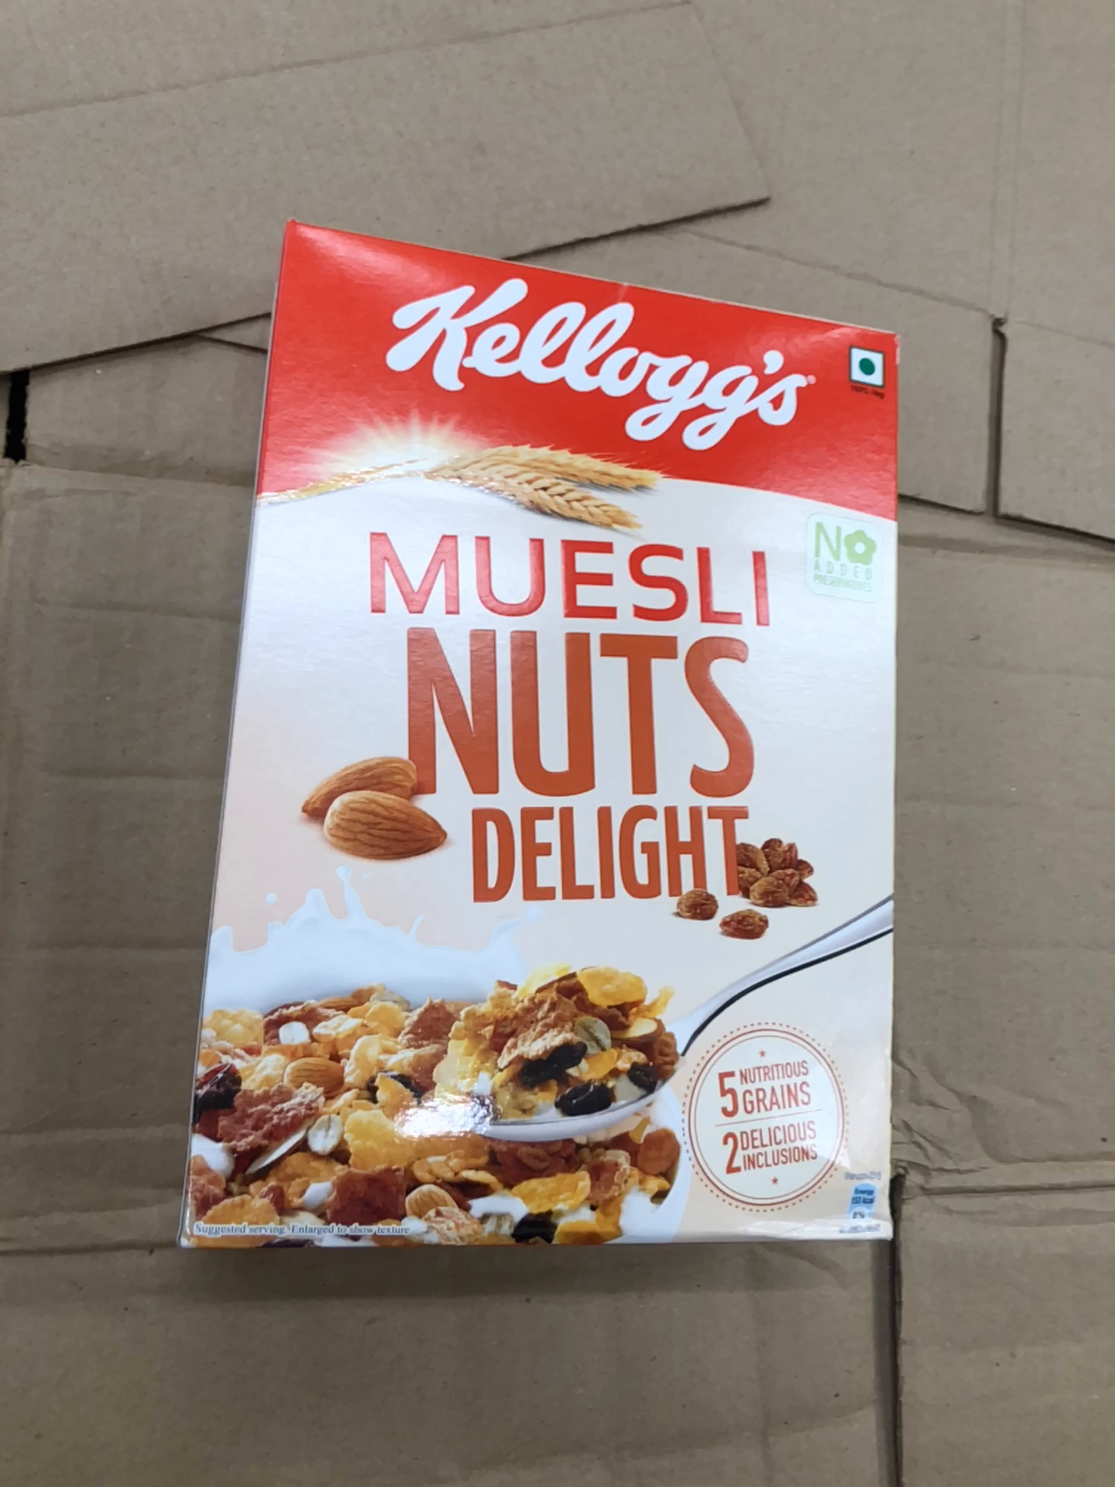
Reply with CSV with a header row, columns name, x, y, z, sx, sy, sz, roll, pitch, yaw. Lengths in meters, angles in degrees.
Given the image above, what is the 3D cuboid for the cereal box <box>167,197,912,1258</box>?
name,x,y,z,sx,sy,sz,roll,pitch,yaw
cereal box,0.000,0.000,0.350,0.180,0.070,0.260,6,78,-14
